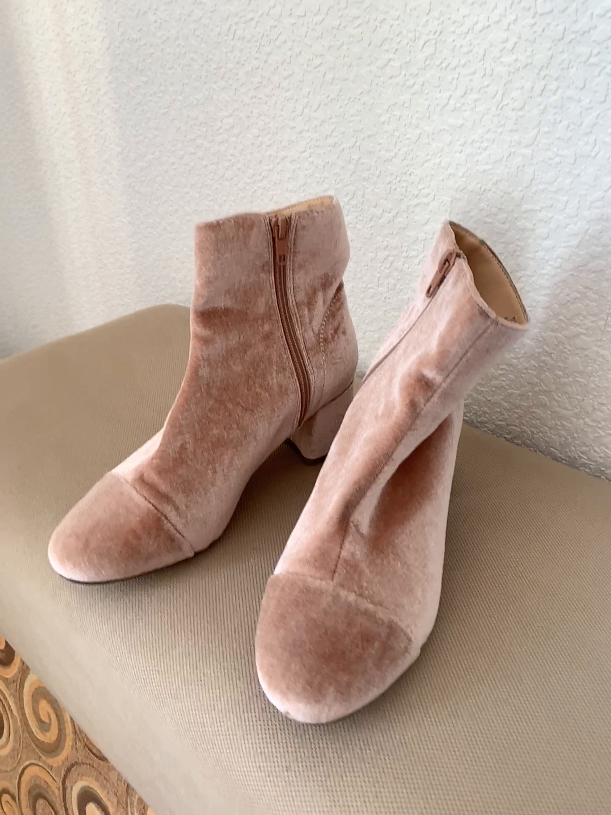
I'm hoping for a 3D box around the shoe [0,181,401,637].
[{"bbox_3d":[-0.059,-0.018,0.375,0.100,0.169,0.231,27,42,35],"label":"shoe"}]

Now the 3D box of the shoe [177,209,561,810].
[{"bbox_3d":[0.056,0.020,0.341,0.100,0.169,0.271,13,36,19],"label":"shoe"}]
